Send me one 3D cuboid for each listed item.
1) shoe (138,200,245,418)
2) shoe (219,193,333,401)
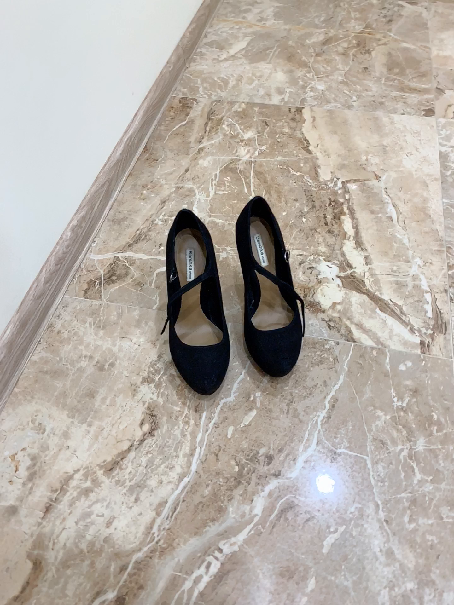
[{"bbox_3d":[-0.045,0.008,0.601,0.089,0.169,0.211,-11,53,-6],"label":"shoe"},{"bbox_3d":[0.053,-0.008,0.612,0.080,0.159,0.211,-11,53,-6],"label":"shoe"}]
